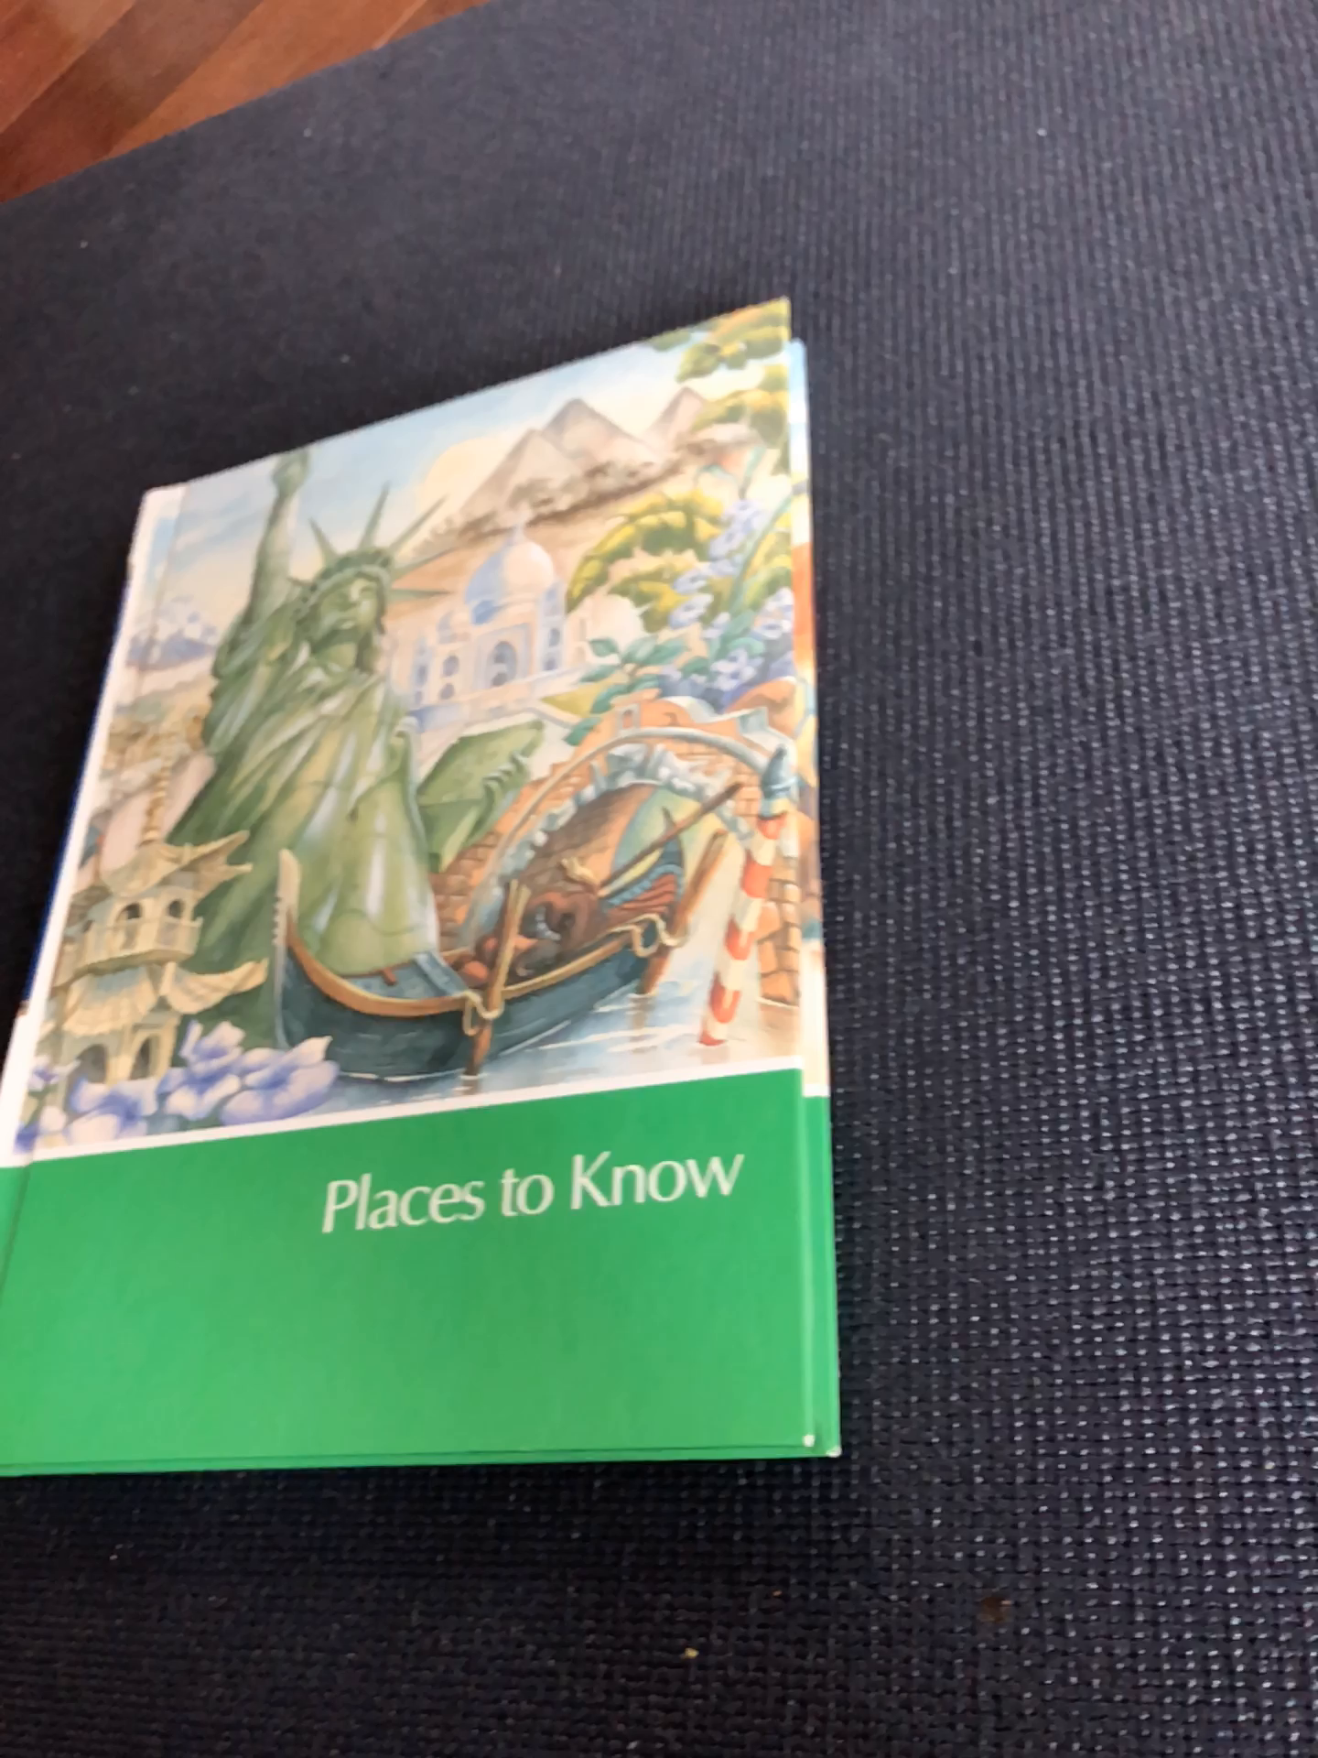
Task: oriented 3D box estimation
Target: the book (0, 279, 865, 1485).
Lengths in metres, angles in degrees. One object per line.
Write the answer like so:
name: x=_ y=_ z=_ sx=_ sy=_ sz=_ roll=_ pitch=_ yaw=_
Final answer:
book: x=-0.057 y=-0.006 z=0.321 sx=0.190 sy=0.030 sz=0.250 roll=-9 pitch=59 yaw=19
